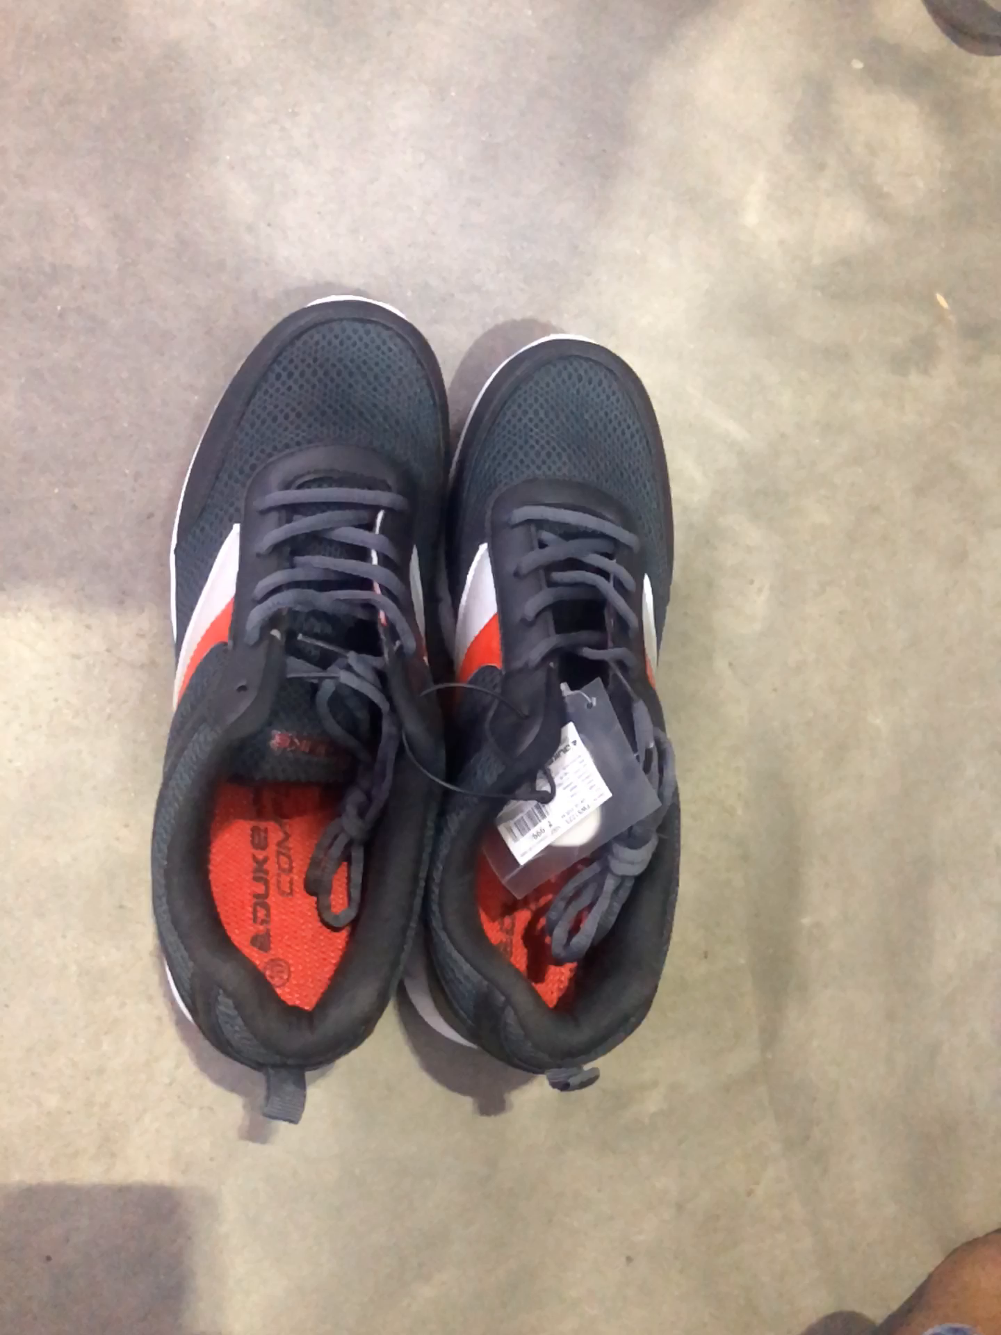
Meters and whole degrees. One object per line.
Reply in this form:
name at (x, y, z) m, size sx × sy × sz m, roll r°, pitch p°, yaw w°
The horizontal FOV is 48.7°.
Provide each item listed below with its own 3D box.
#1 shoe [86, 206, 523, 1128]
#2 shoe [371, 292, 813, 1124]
shoe at (-0.068, 0.003, 0.385) m, size 0.110 × 0.100 × 0.270 m, roll 5°, pitch 85°, yaw -16°
shoe at (0.031, 0.017, 0.424) m, size 0.110 × 0.100 × 0.270 m, roll 9°, pitch 84°, yaw -15°
